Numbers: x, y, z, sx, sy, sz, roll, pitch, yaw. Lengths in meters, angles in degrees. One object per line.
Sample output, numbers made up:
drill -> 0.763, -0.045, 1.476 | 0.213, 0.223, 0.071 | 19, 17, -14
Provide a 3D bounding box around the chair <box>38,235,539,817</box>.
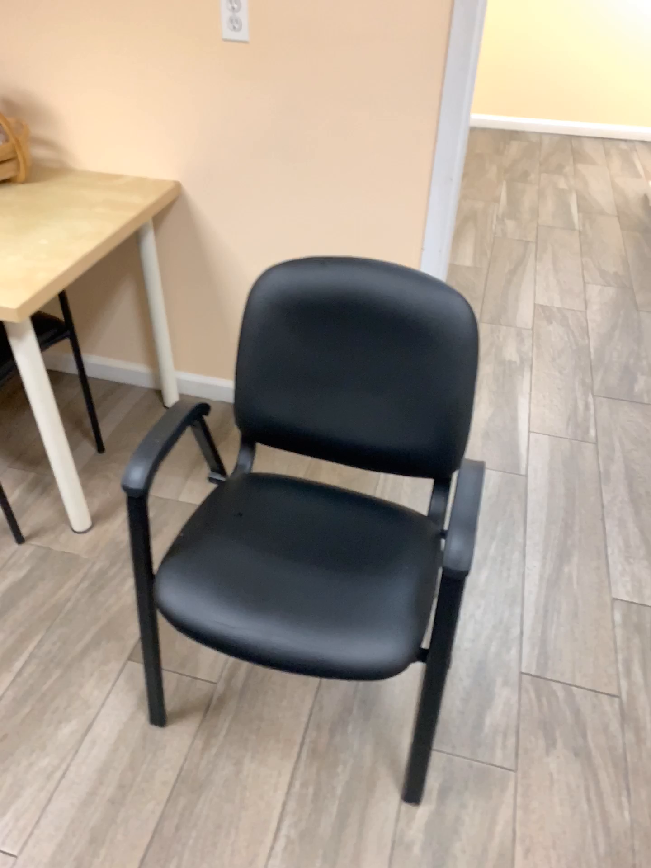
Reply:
chair -> 0.001, 0.158, 1.260 | 0.606, 0.796, 0.627 | 11, 40, 11
